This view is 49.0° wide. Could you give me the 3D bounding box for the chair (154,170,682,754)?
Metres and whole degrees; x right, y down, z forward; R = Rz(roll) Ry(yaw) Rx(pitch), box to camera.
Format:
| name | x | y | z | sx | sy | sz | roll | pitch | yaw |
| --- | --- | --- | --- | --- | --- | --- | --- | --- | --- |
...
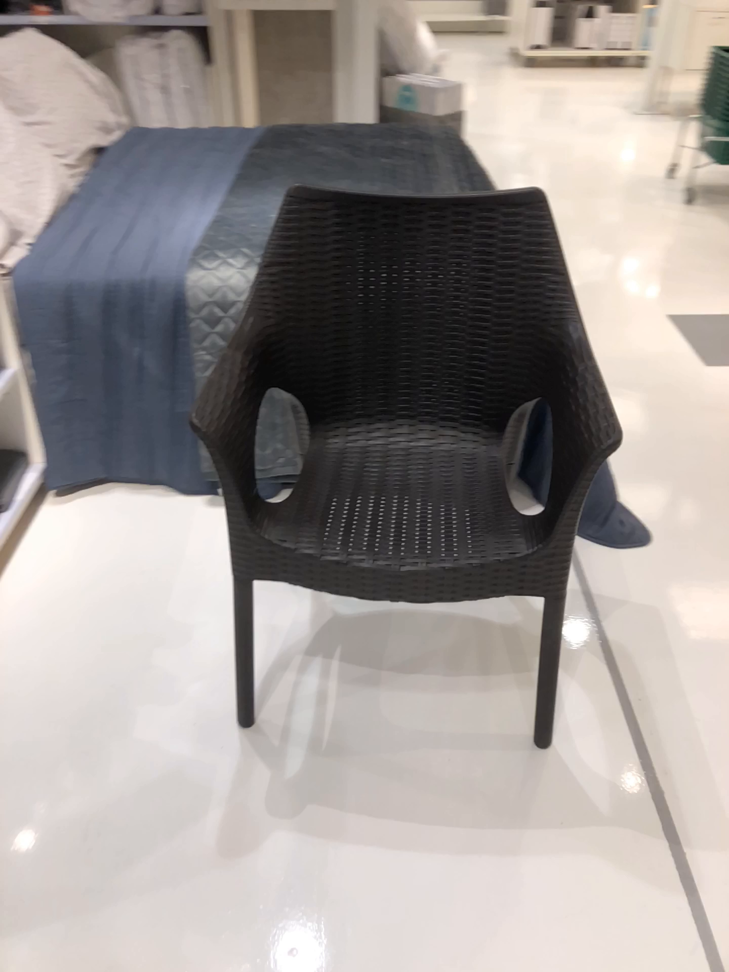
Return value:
| name | x | y | z | sx | sy | sz | roll | pitch | yaw |
| --- | --- | --- | --- | --- | --- | --- | --- | --- | --- |
| chair | 0.077 | -0.053 | 1.348 | 0.590 | 0.764 | 0.575 | 3 | 35 | 4 |
